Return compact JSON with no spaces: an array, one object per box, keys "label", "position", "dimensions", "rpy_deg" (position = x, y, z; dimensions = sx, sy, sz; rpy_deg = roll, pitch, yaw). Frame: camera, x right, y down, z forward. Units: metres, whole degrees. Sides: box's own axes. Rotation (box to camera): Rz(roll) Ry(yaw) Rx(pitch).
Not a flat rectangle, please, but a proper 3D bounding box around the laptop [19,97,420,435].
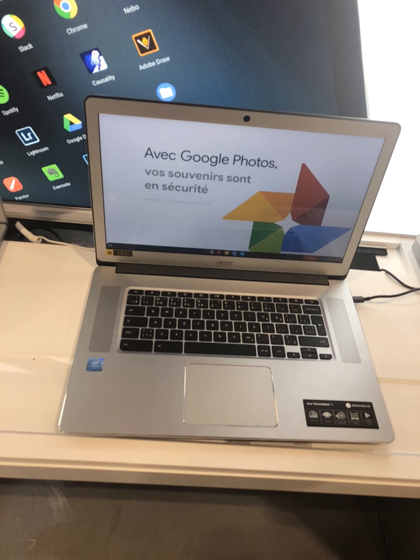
[{"label":"laptop","position":[0.030,-0.012,0.532],"dimensions":[0.371,0.243,0.283],"rpy_deg":[3,47,-6]}]
